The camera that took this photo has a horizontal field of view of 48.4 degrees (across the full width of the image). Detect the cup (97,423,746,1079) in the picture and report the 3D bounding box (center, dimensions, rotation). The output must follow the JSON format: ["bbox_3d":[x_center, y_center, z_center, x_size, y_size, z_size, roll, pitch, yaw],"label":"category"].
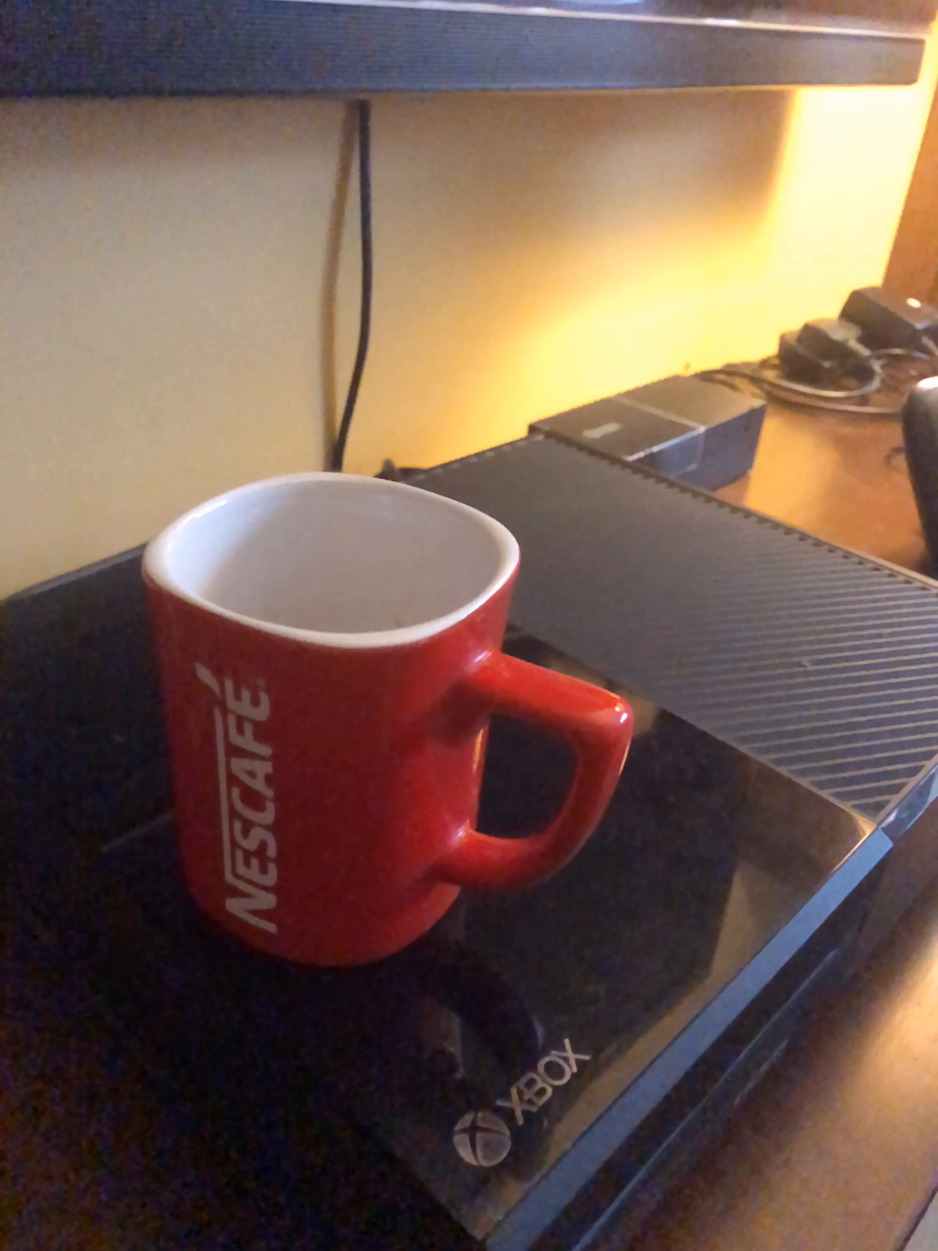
[{"bbox_3d":[-0.010,0.020,0.239,0.110,0.089,0.081,18,33,22],"label":"cup"}]
